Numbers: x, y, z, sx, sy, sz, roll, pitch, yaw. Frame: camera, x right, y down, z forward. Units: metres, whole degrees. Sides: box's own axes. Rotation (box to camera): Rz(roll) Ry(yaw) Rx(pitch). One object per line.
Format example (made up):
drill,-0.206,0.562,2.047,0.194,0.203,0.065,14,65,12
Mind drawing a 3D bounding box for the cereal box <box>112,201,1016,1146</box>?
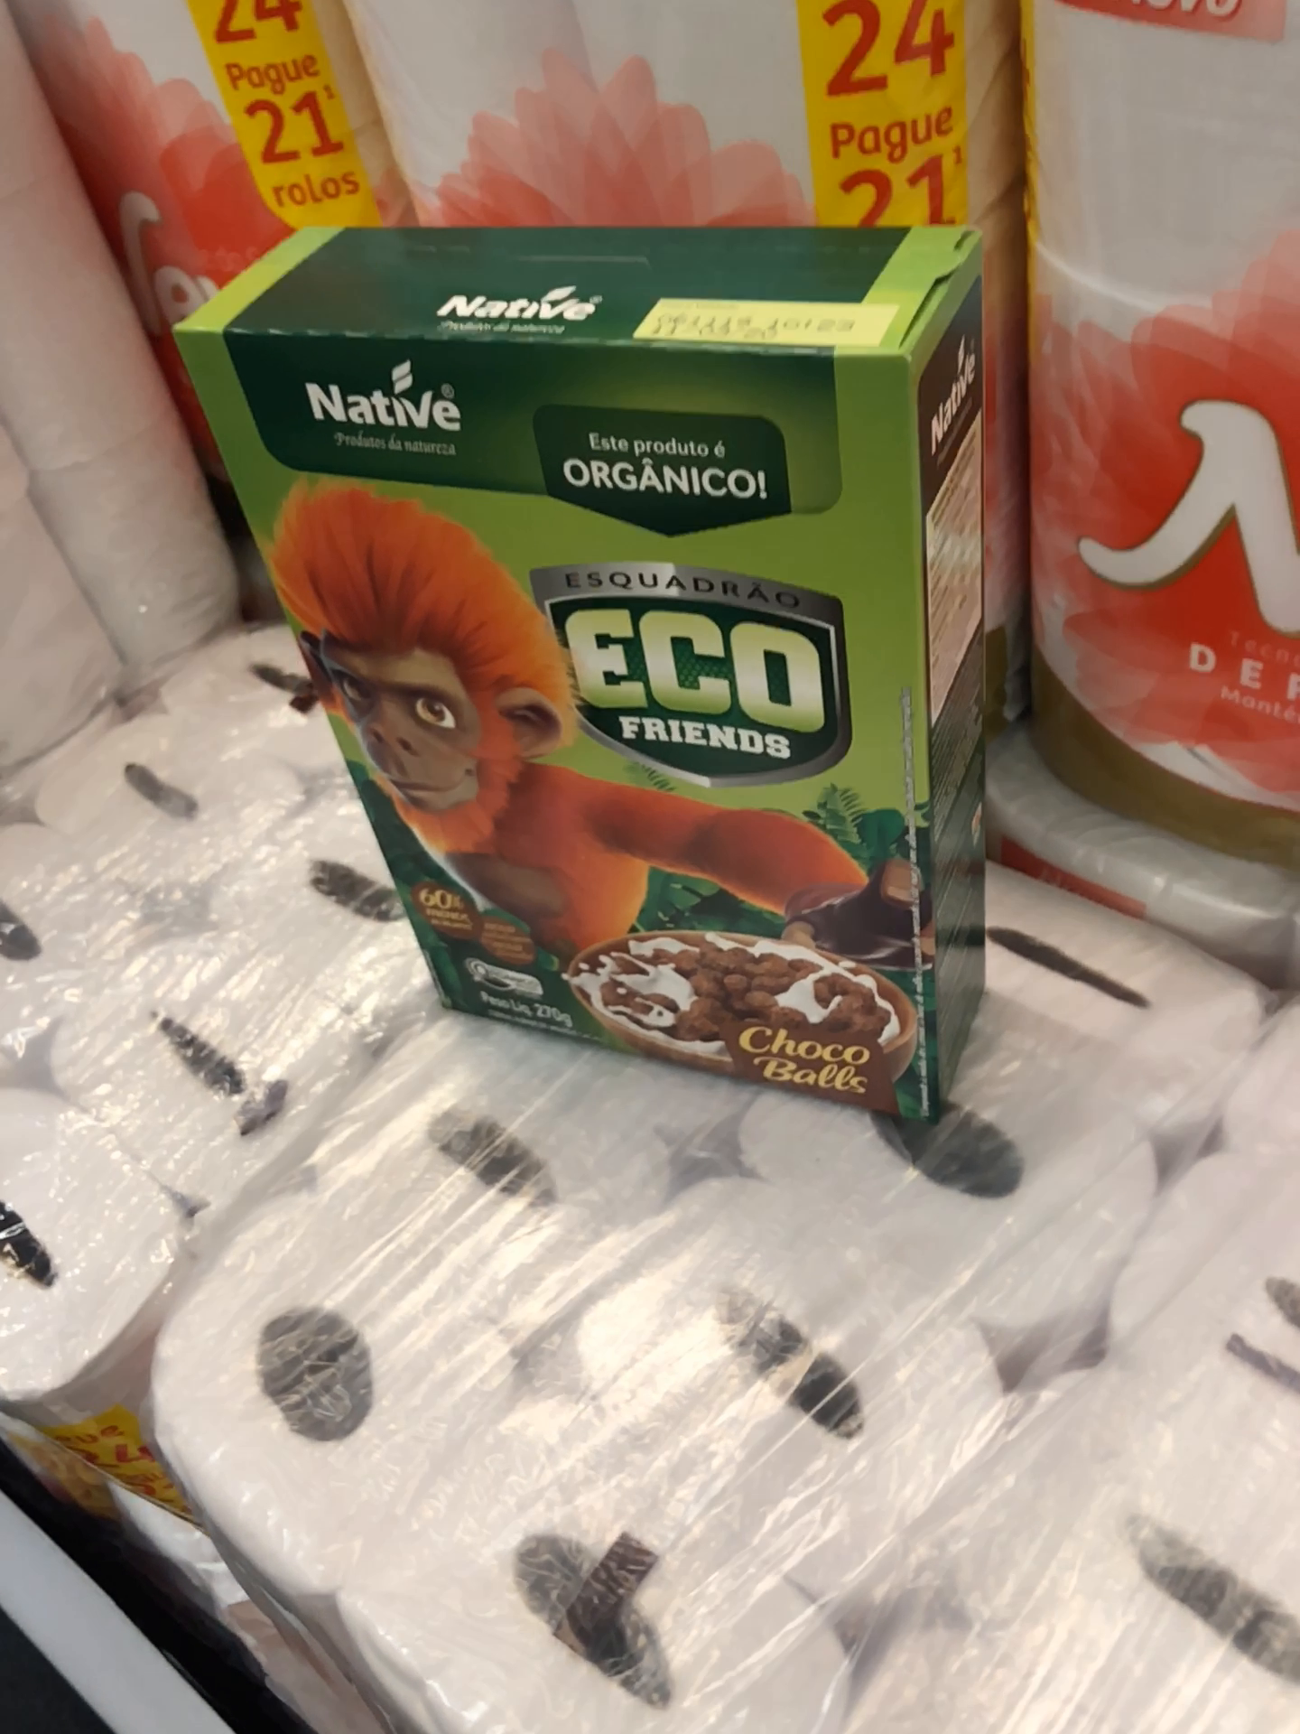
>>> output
cereal box,-0.006,-0.042,0.373,0.180,0.228,0.060,12,48,23
